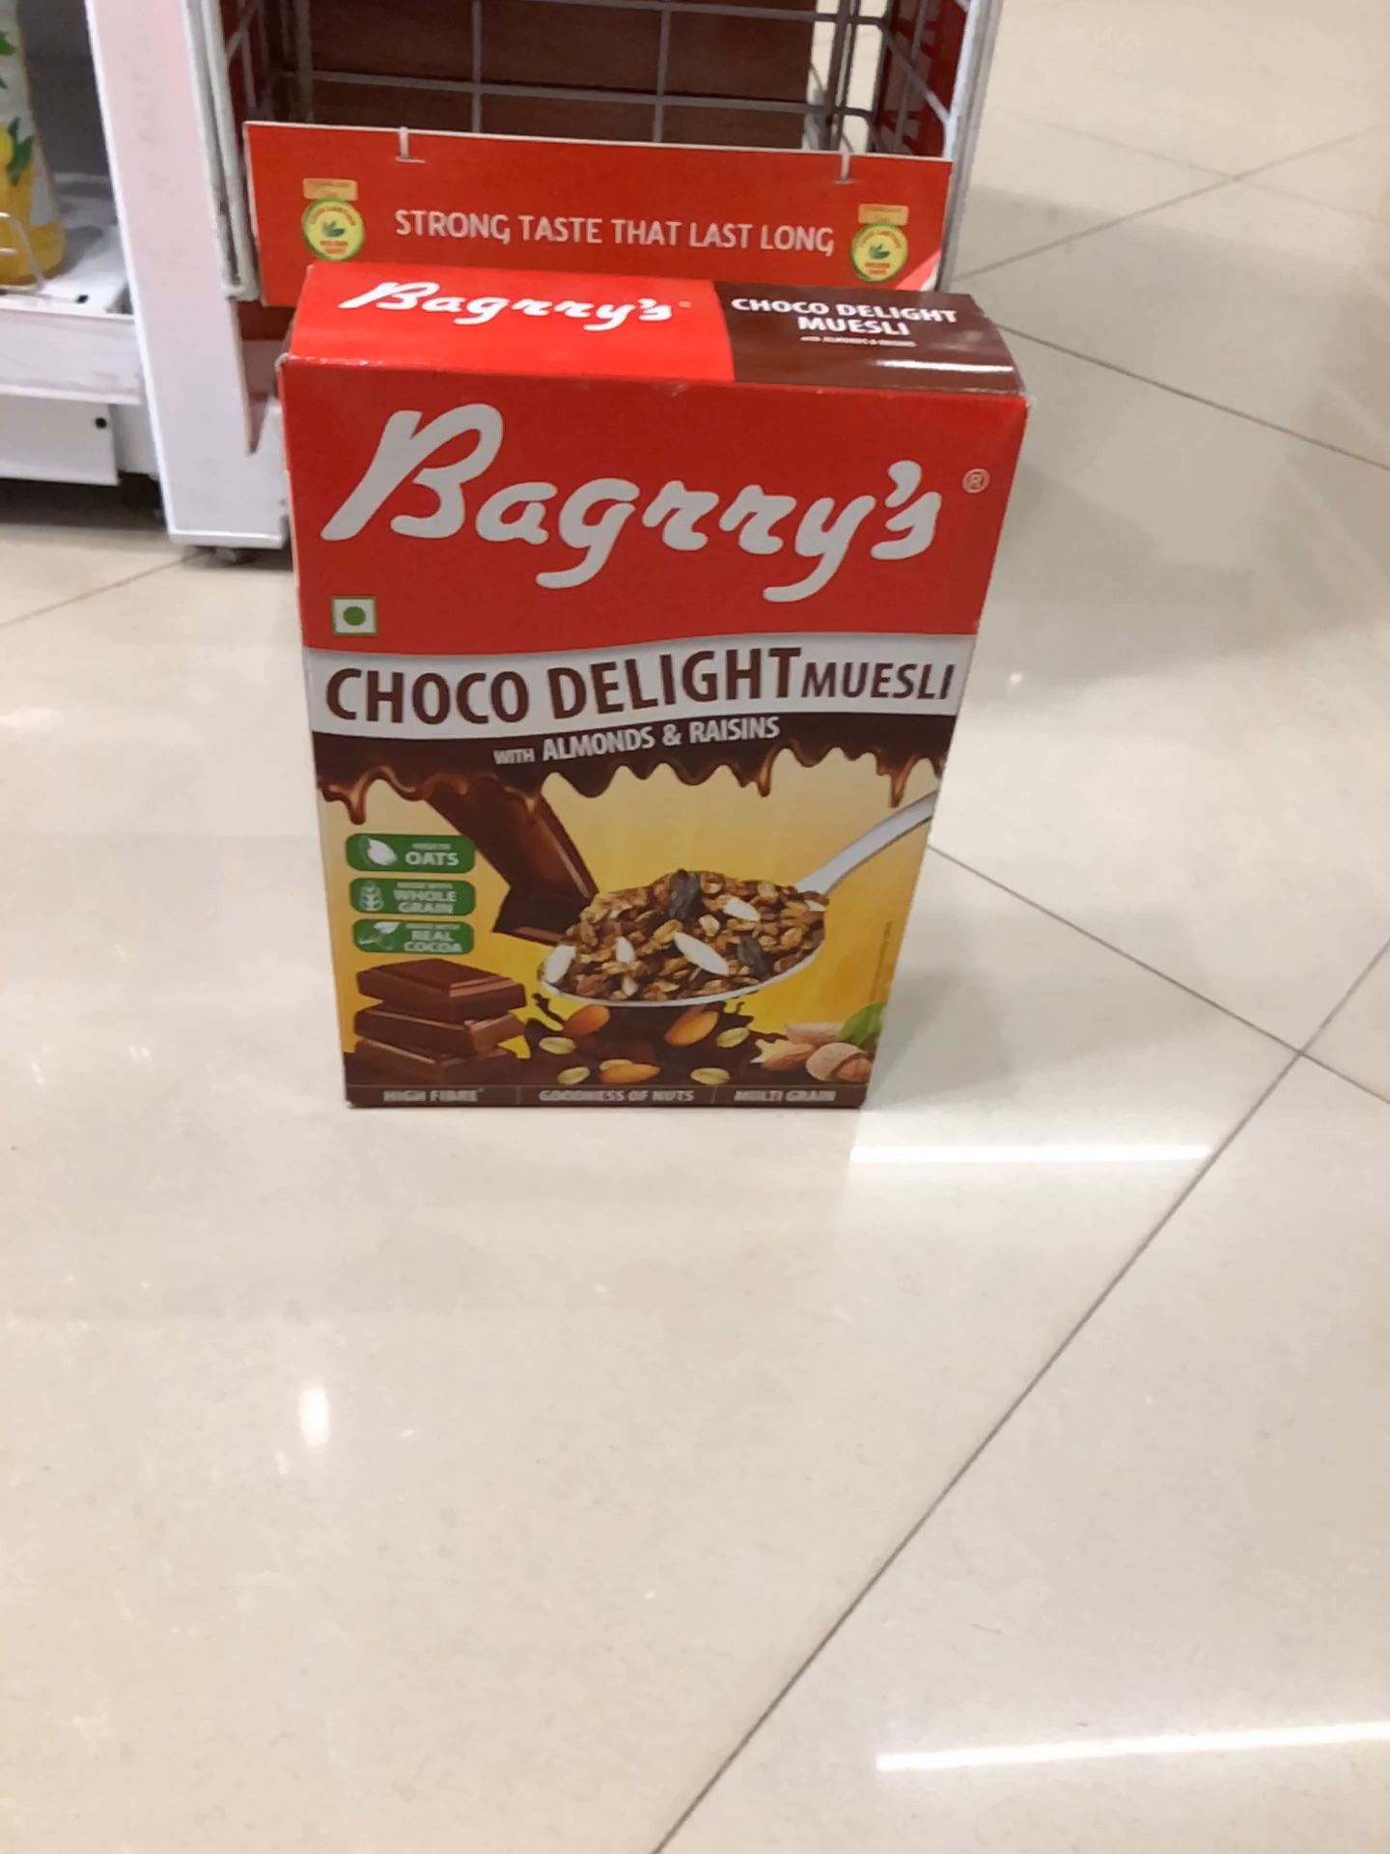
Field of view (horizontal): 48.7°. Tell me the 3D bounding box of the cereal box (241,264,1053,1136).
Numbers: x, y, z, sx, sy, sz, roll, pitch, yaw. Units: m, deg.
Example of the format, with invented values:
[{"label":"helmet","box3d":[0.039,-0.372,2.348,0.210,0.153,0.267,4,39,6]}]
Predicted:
[{"label":"cereal box","box3d":[-0.022,-0.050,0.468,0.190,0.258,0.070,1,41,-6]}]
